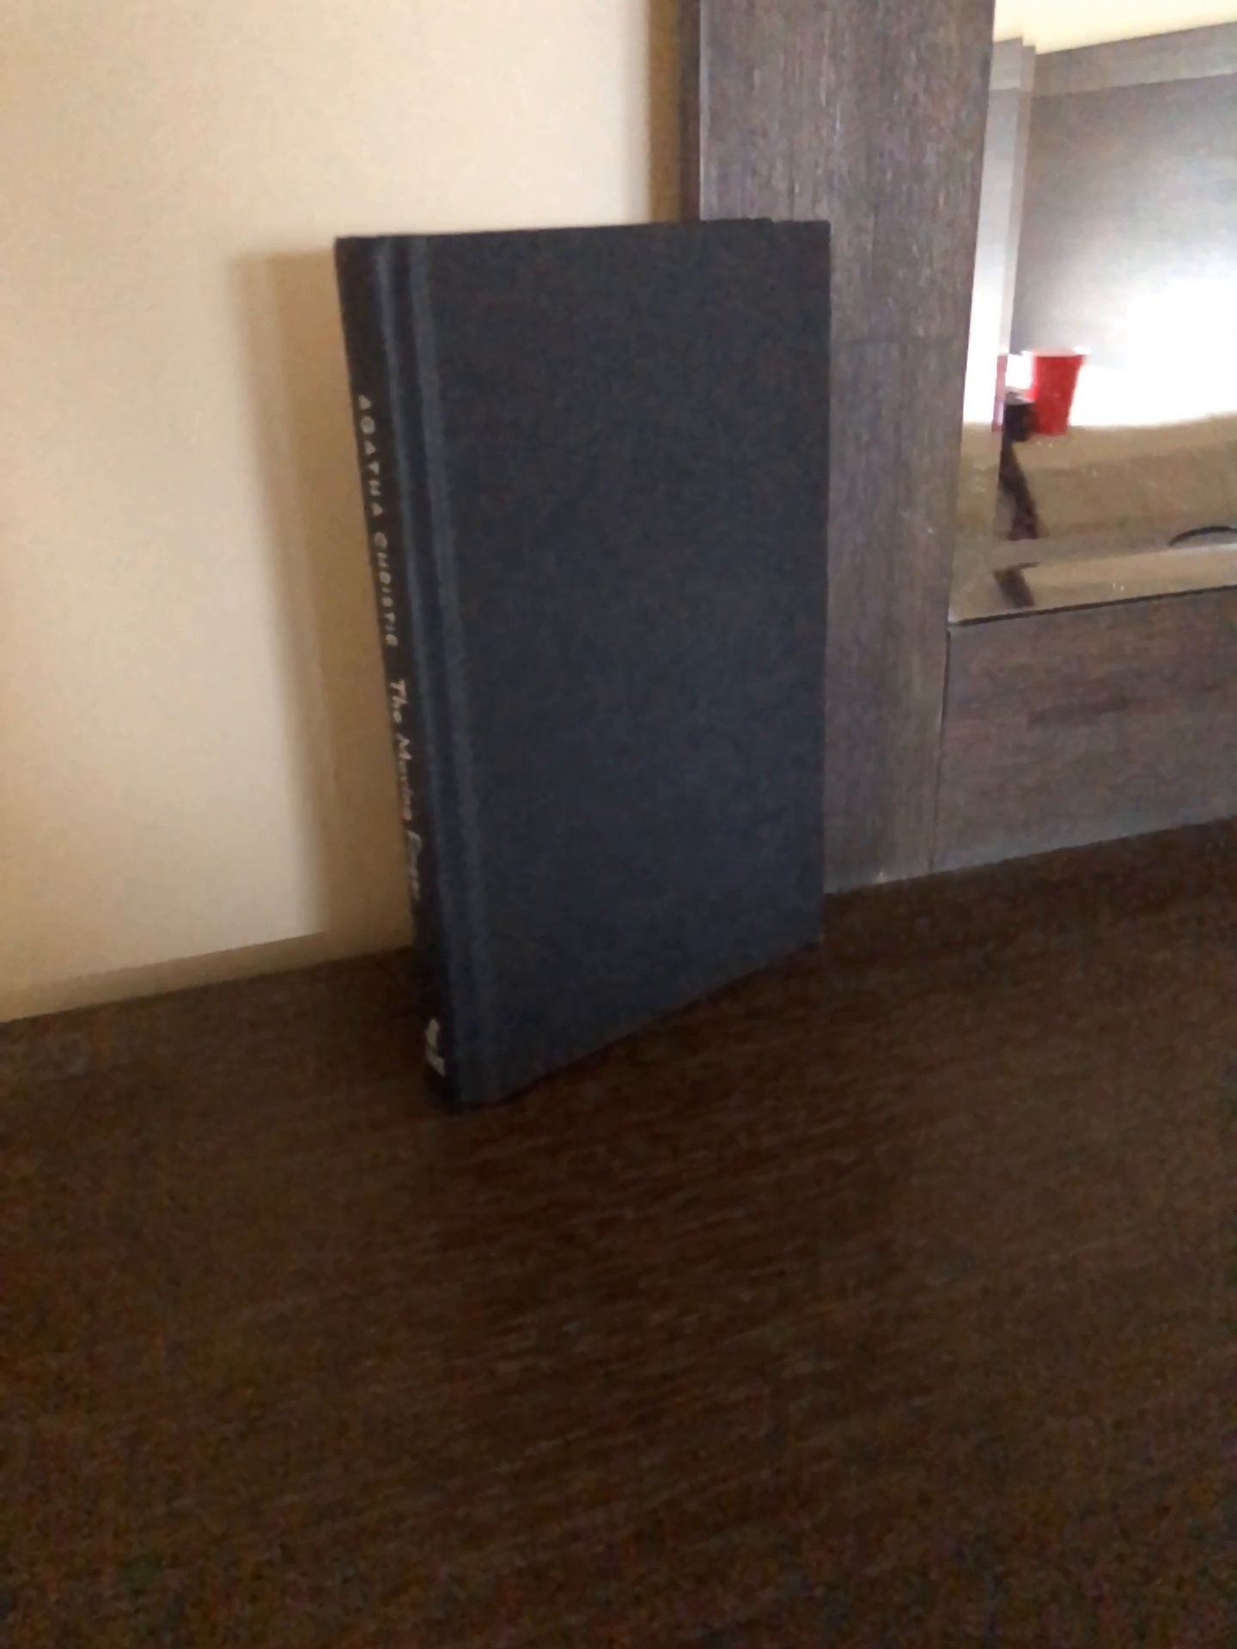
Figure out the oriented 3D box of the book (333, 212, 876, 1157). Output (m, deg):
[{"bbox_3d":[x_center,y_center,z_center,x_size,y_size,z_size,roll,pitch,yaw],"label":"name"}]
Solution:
[{"bbox_3d":[0.008,-0.042,0.375,0.150,0.229,0.028,-21,29,-37],"label":"book"}]
